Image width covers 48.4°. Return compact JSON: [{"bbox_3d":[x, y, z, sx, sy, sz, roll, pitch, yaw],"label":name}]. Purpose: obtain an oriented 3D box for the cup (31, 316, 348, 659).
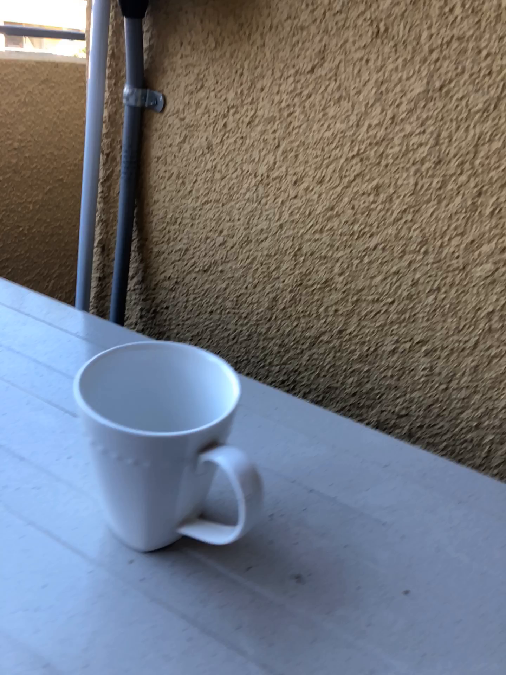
[{"bbox_3d":[-0.041,0.072,0.325,0.140,0.100,0.100,28,33,30],"label":"cup"}]
